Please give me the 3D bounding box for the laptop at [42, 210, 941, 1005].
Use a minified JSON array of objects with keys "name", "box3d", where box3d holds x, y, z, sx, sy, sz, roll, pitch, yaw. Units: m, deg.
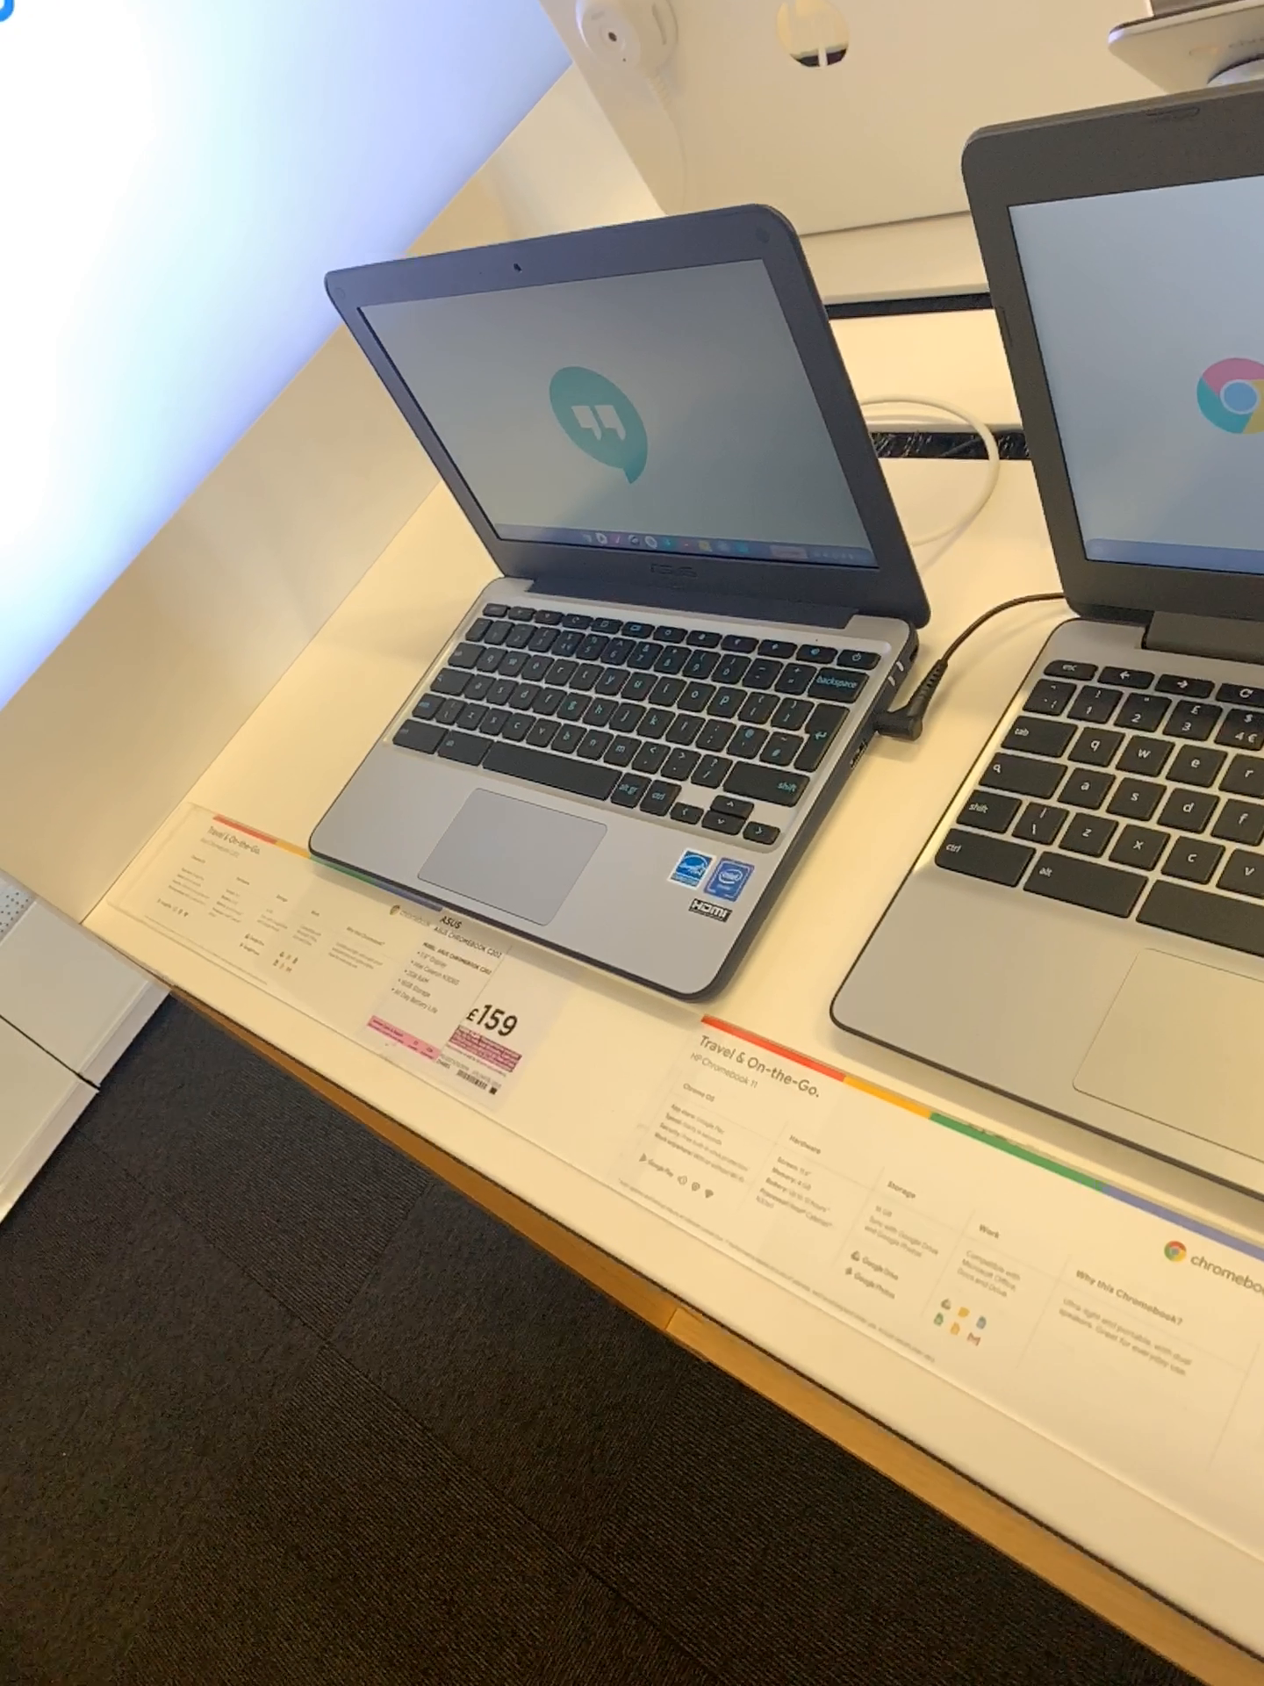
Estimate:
[{"name":"laptop","box3d":[-0.062,-0.109,0.566,0.281,0.183,0.216,17,66,43]}]
